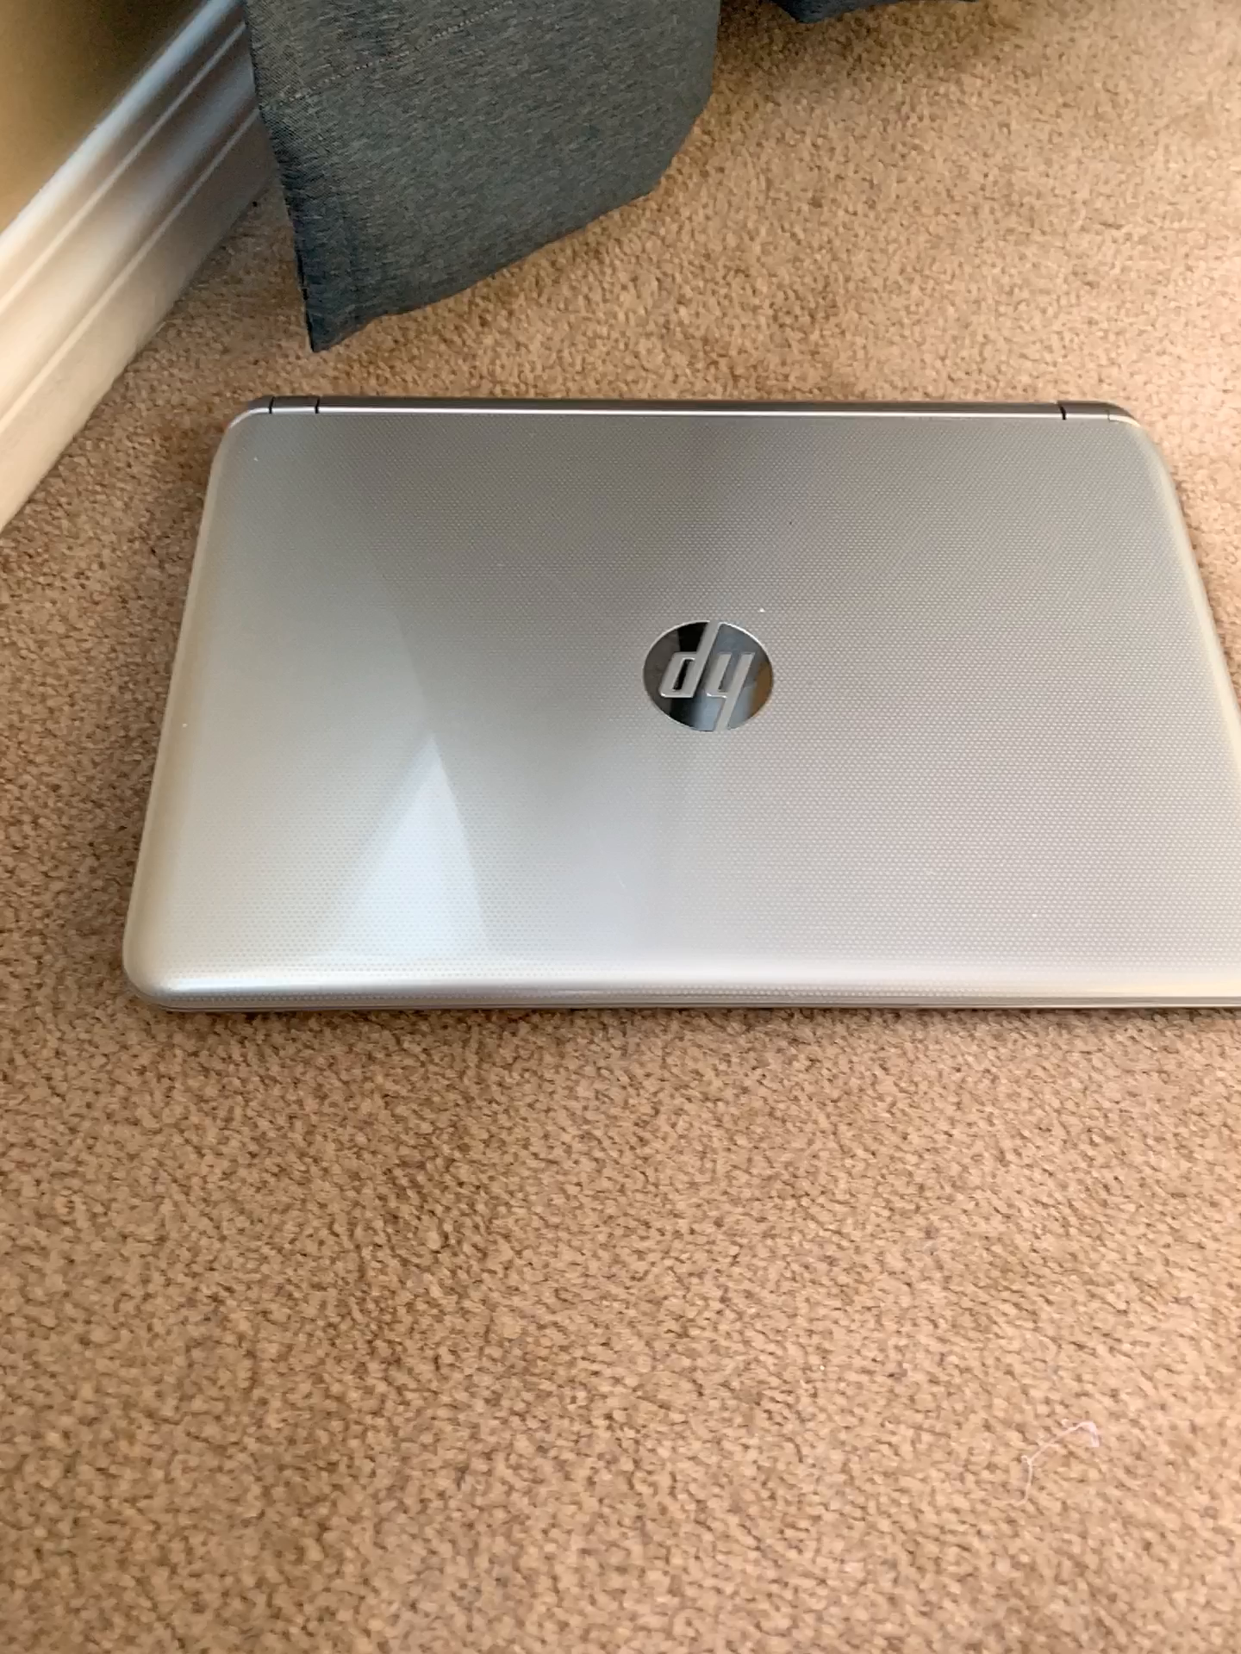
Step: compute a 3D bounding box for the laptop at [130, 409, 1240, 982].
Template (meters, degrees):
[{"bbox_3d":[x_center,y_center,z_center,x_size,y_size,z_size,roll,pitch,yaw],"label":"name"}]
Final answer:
[{"bbox_3d":[0.026,-0.055,0.412,0.328,0.002,0.223,0,60,0],"label":"laptop"}]
